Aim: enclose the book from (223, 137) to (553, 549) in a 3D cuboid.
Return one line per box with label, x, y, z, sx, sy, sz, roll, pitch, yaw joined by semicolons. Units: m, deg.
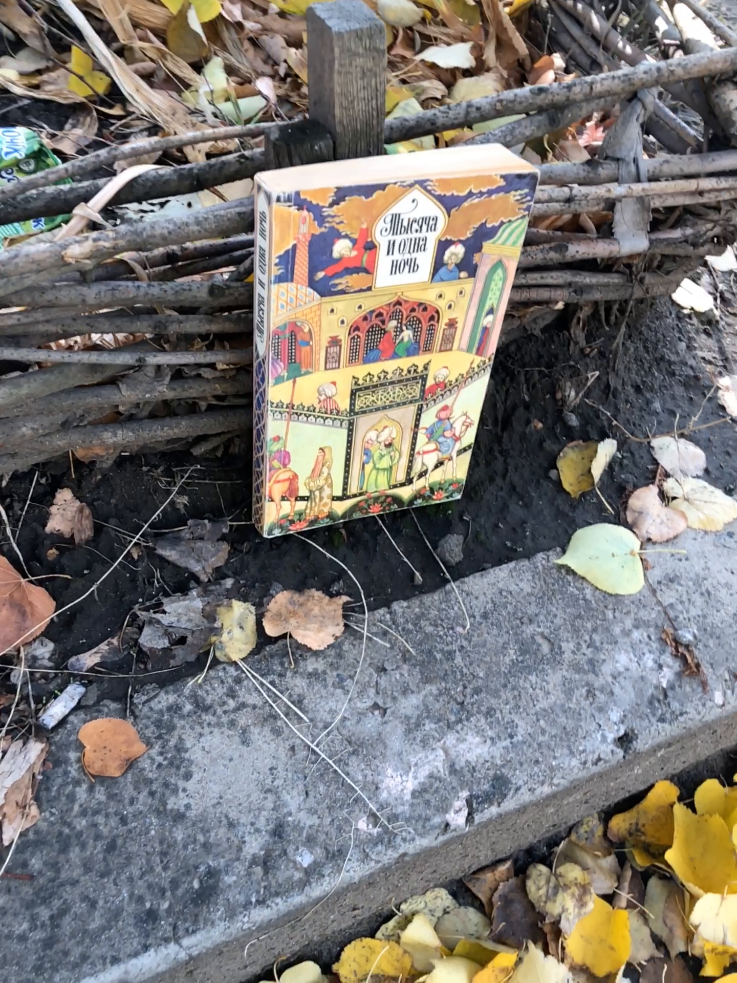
book;0.004;-0.059;0.369;0.123;0.182;0.029;-12;46;-16
